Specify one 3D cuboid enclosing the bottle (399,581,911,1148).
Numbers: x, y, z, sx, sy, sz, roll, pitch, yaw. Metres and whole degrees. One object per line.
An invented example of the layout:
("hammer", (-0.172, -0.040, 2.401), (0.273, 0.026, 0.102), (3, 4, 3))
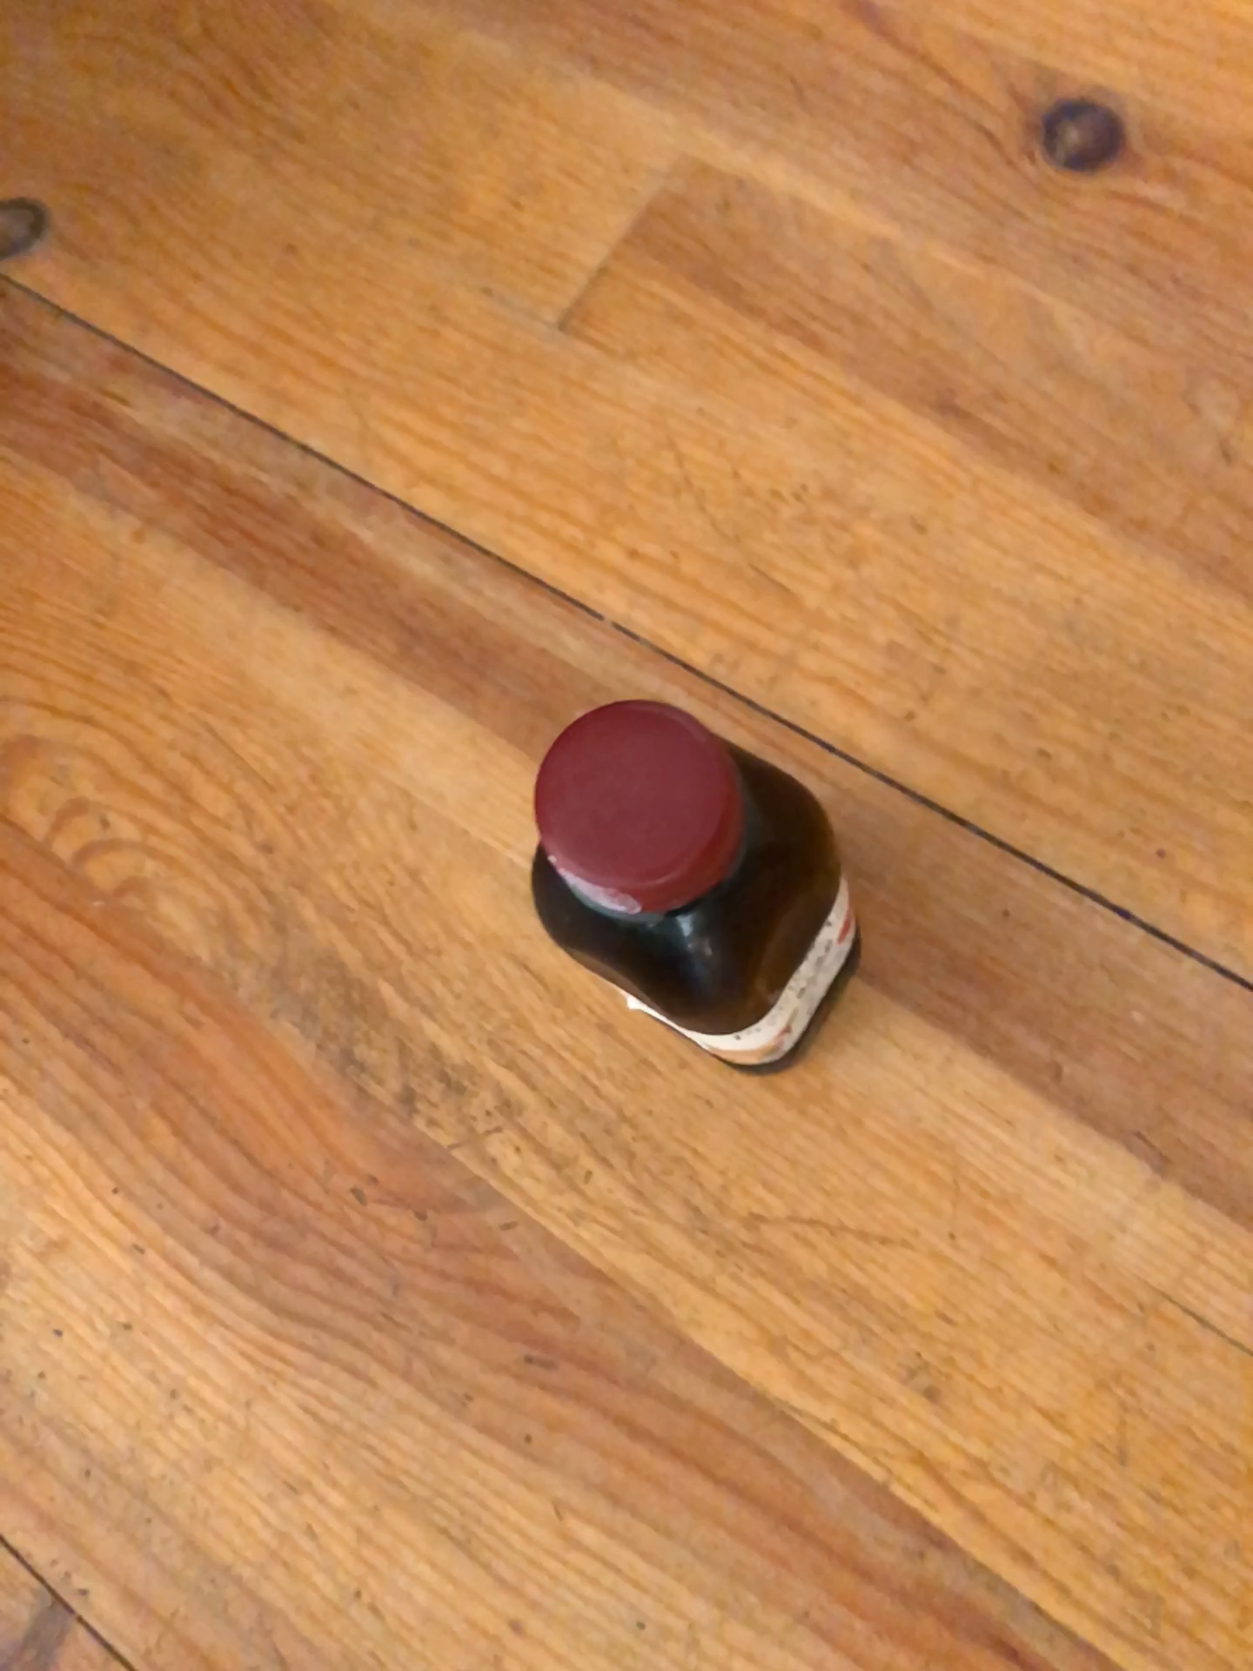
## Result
("bottle", (0.018, 0.018, 0.278), (0.050, 0.150, 0.060), (31, 83, 19))
